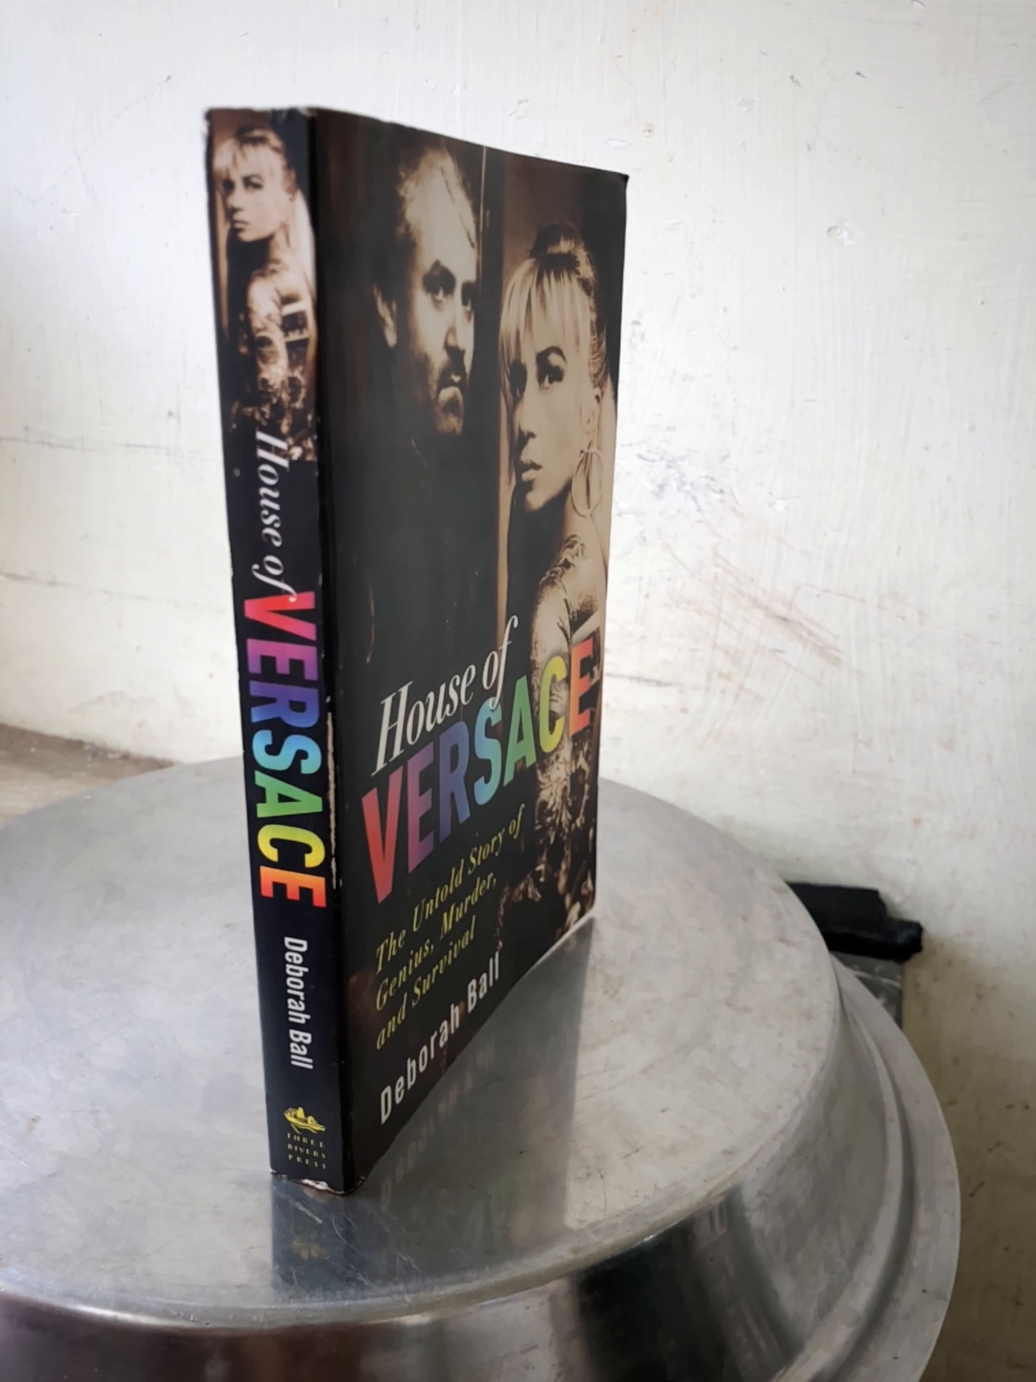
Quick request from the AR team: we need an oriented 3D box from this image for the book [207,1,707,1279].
[{"bbox_3d":[-0.003,-0.018,0.281,0.040,0.219,0.181,9,17,19],"label":"book"}]
